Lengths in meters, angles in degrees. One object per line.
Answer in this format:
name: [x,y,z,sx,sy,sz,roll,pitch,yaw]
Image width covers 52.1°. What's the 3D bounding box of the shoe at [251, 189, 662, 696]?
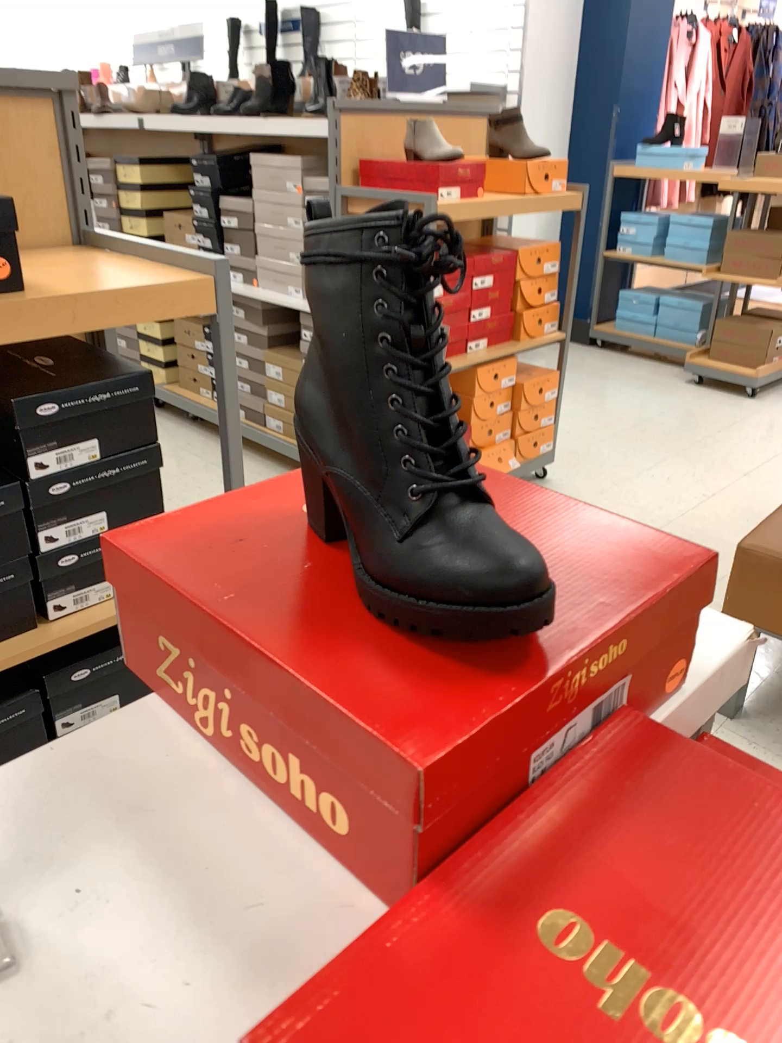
shoe: [0.016,-0.059,0.425,0.092,0.203,0.201,-15,30,-30]
